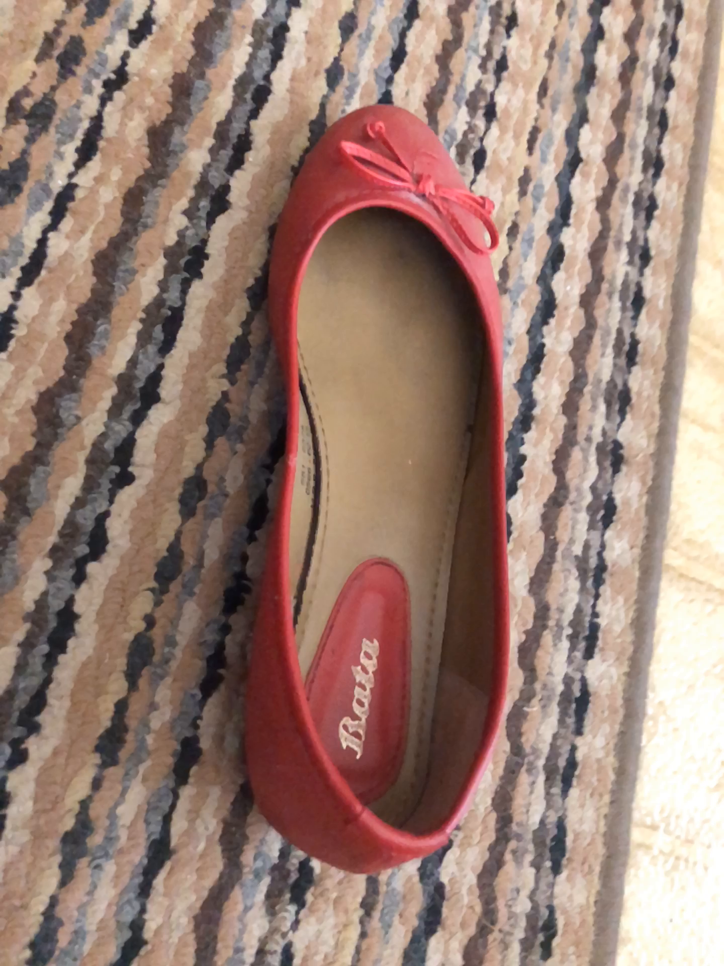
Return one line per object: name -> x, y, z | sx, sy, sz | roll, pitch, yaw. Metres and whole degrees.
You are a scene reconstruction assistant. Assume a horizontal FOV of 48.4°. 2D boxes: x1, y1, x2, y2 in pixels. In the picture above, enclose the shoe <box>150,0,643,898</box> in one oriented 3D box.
shoe -> 0.014, -0.024, 0.268 | 0.100, 0.110, 0.270 | 13, 73, -22
